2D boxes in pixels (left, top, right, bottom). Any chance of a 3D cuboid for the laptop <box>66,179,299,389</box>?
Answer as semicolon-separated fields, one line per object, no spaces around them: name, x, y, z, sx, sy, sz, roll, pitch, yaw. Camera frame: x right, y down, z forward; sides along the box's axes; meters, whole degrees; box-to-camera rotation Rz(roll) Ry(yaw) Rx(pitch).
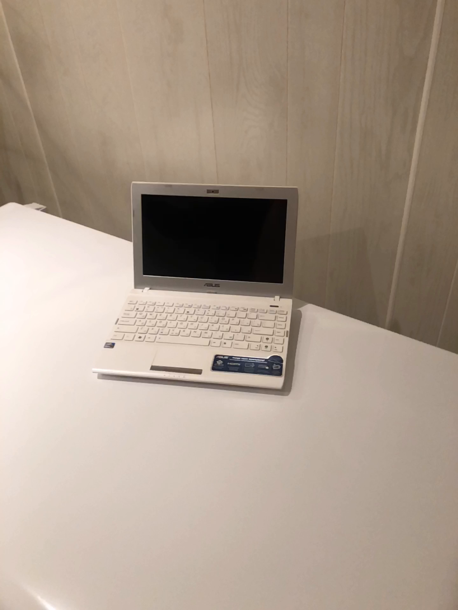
laptop;-0.045;-0.051;0.801;0.287;0.168;0.294;4;40;10
